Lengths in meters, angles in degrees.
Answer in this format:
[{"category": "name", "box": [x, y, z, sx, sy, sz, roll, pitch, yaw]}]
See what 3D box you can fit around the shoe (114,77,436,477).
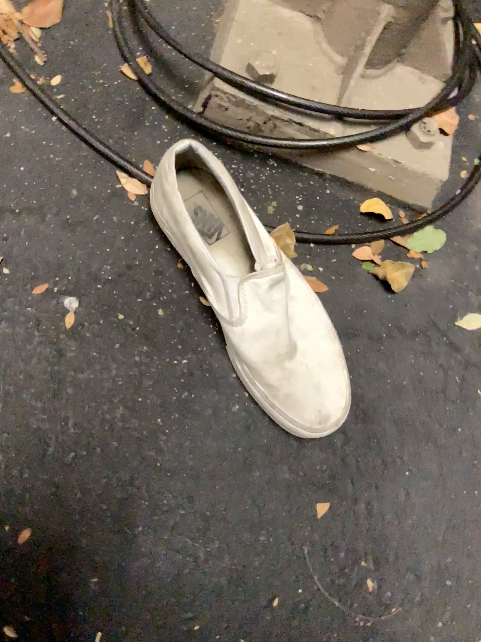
[{"category": "shoe", "box": [0.018, -0.036, 0.463, 0.120, 0.100, 0.310, -25, 83, -23]}]
